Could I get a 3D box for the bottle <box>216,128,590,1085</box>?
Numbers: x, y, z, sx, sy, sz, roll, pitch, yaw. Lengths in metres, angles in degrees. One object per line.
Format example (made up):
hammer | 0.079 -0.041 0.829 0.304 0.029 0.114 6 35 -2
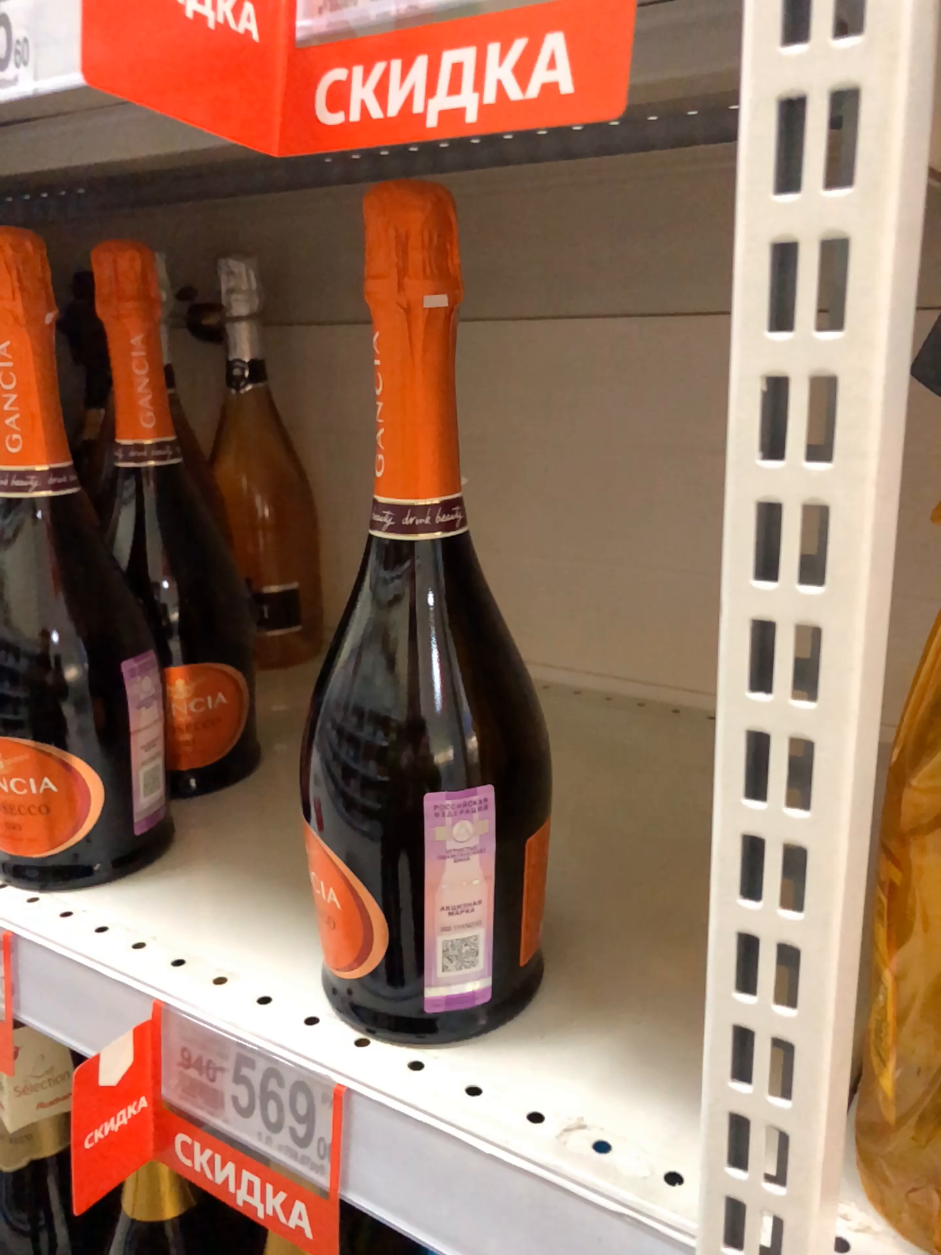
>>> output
bottle | -0.024 -0.006 0.386 0.100 0.309 0.100 -1 16 0
